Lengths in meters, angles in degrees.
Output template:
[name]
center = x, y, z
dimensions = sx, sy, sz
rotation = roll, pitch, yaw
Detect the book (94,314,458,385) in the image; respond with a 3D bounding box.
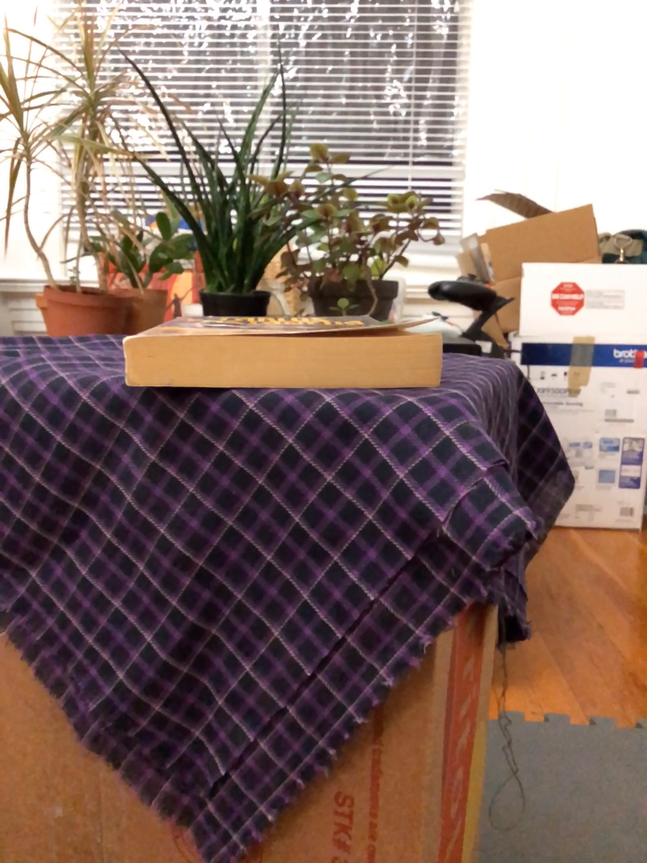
[book]
center = -0.027, -0.052, 0.405
dimensions = 0.150, 0.020, 0.221
rotation = 0, 12, -5
